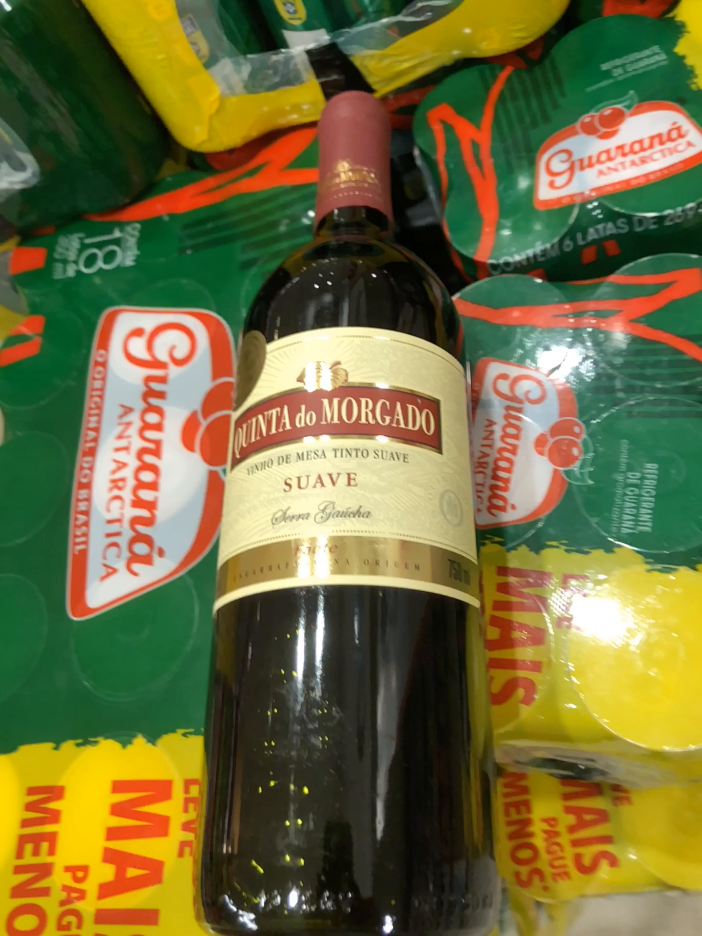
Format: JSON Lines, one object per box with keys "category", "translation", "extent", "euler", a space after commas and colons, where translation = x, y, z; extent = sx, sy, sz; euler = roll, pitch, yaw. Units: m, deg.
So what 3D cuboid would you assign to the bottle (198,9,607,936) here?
{"category": "bottle", "translation": [0.009, -0.013, 0.239], "extent": [0.080, 0.070, 0.271], "euler": [-1, 67, 1]}
